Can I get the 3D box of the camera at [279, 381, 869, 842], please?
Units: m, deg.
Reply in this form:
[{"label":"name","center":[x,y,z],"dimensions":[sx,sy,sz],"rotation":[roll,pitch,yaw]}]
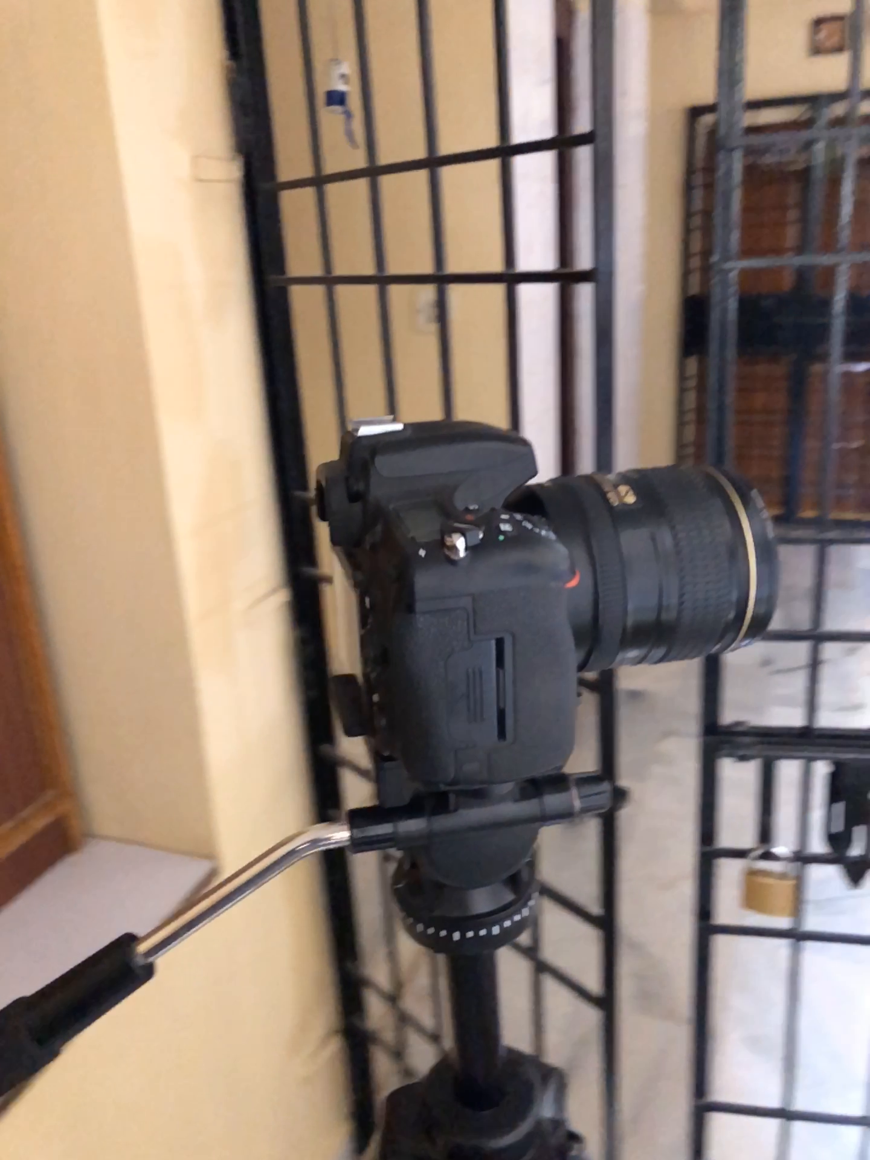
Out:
[{"label":"camera","center":[0.037,-0.007,0.372],"dimensions":[0.171,0.105,0.171],"rotation":[-7,20,-11]}]
